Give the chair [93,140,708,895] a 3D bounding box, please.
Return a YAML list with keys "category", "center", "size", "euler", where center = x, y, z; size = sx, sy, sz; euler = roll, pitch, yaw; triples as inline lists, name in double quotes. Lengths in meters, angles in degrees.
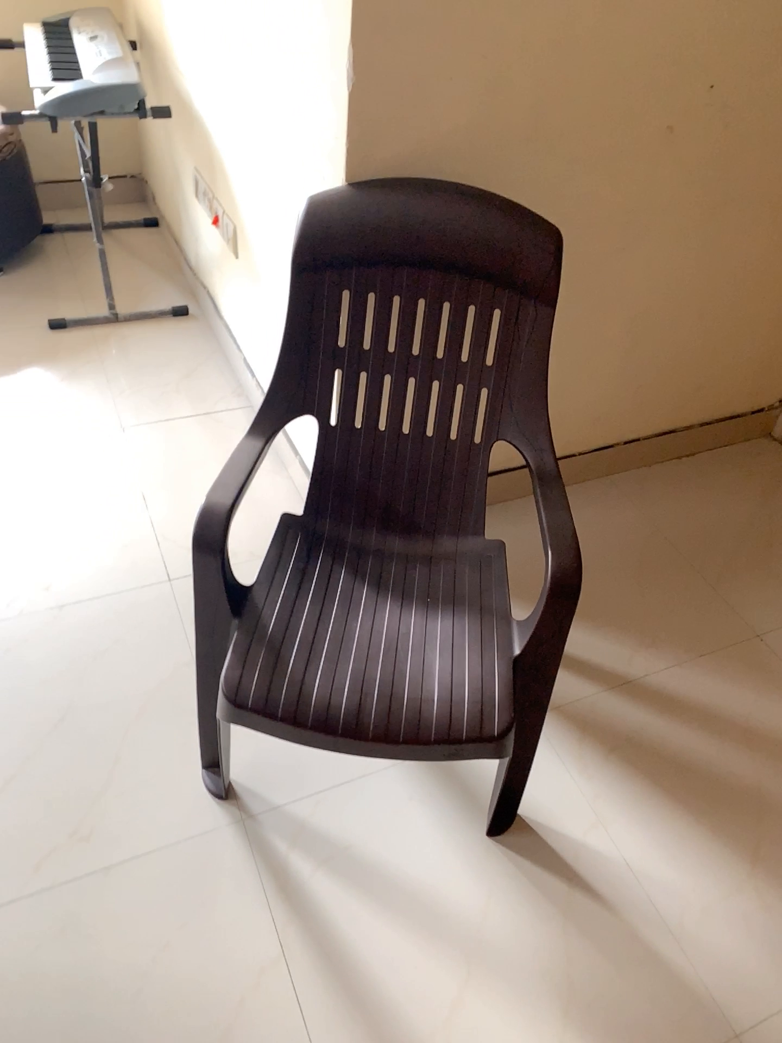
- category: "chair"
  center: [0.006, 0.032, 1.359]
  size: [0.600, 1.031, 0.666]
  euler: [8, 42, 3]
